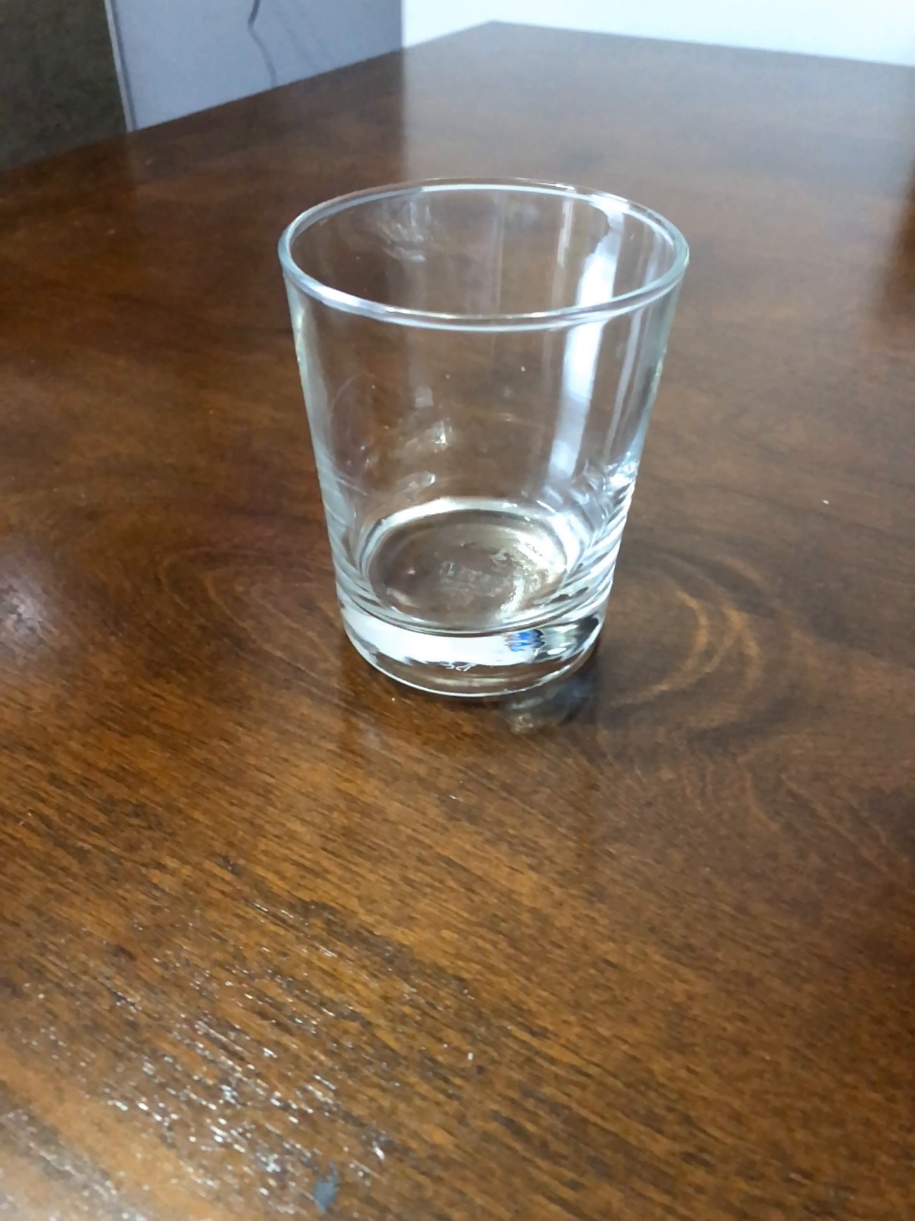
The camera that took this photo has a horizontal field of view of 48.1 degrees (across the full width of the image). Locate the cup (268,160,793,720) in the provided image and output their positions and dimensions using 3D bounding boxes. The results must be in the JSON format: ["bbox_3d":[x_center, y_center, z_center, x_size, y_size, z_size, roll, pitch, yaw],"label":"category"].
[{"bbox_3d":[0.007,-0.043,0.236,0.090,0.090,0.090,1,38,-1],"label":"cup"}]
